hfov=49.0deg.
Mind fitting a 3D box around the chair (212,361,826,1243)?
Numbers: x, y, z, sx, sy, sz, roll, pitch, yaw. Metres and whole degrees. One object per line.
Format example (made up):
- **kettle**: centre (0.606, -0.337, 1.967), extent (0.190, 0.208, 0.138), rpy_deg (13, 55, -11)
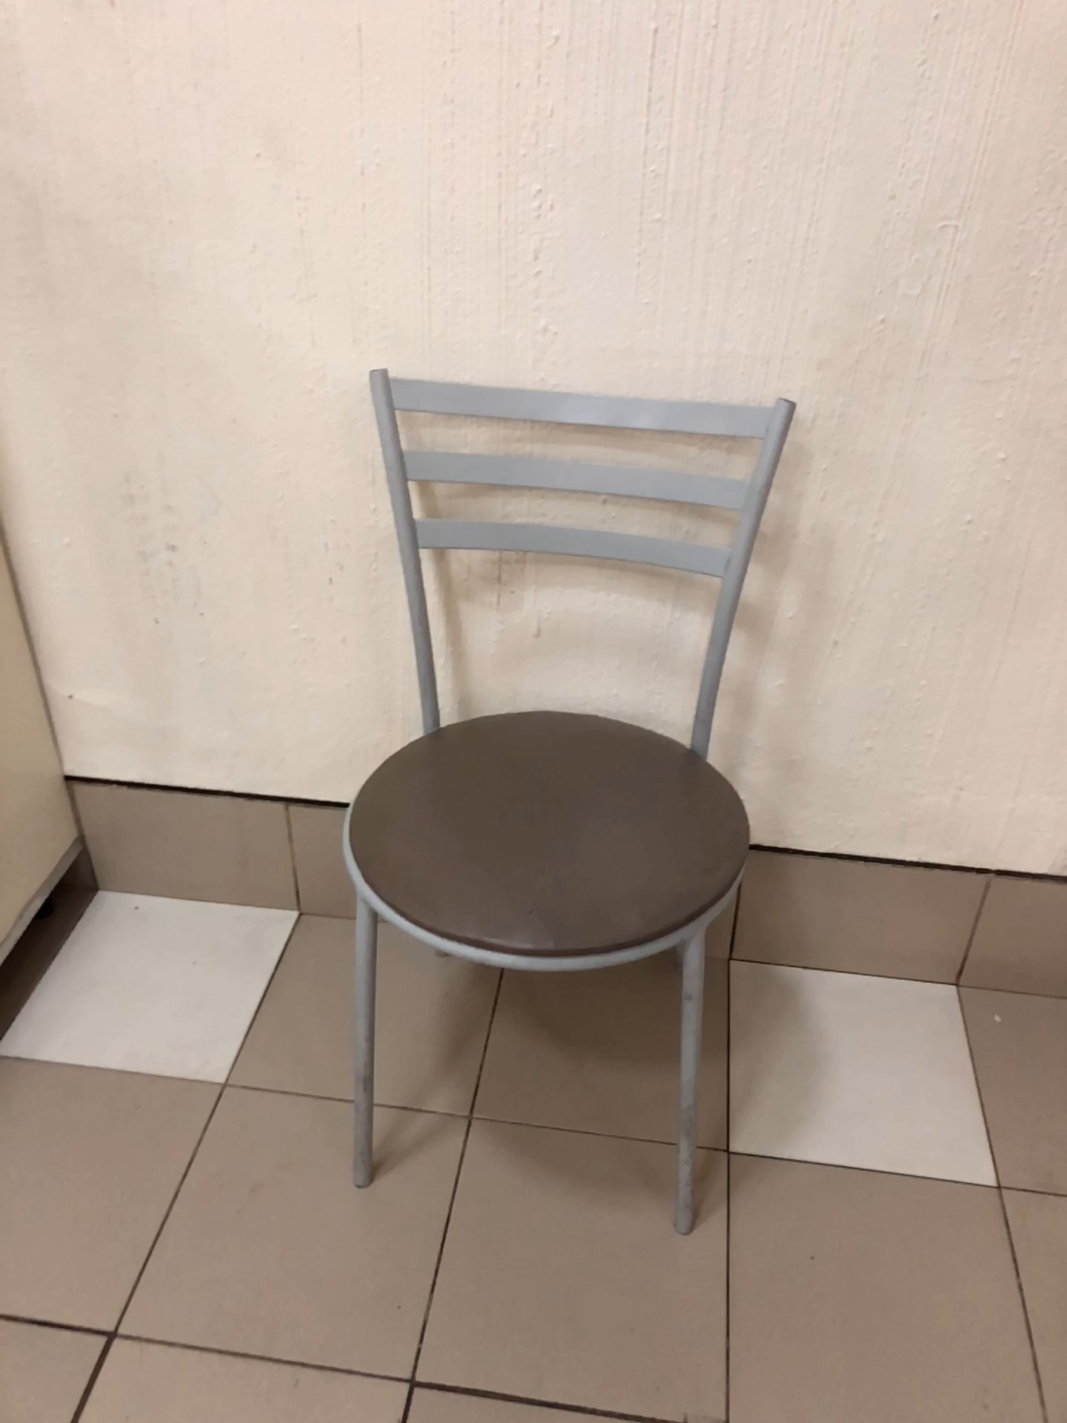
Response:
- **chair**: centre (0.006, 0.099, 1.197), extent (0.430, 0.764, 0.423), rpy_deg (5, 34, 6)
